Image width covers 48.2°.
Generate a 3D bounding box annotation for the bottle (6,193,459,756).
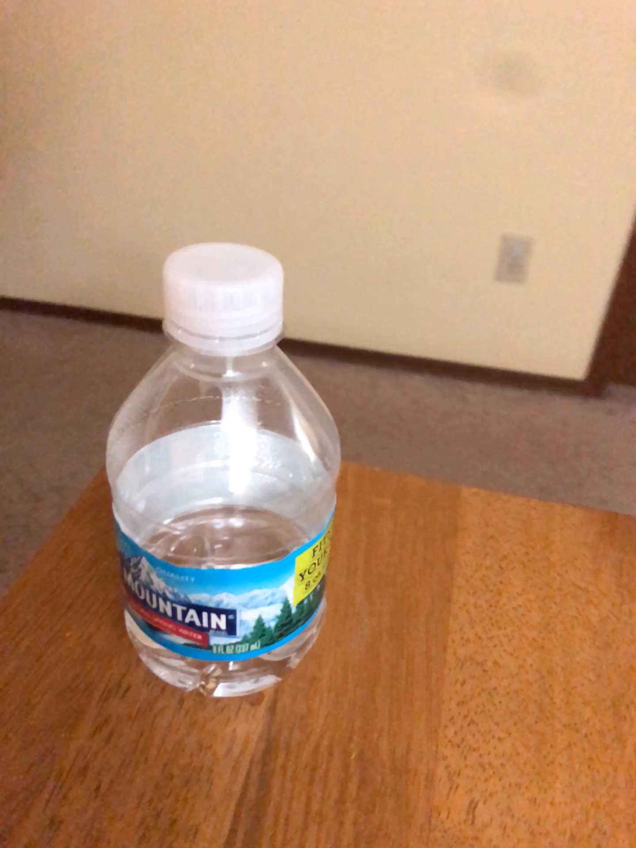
[{"bbox_3d":[-0.020,0.009,0.187,0.070,0.110,0.070,3,34,-2],"label":"bottle"}]
